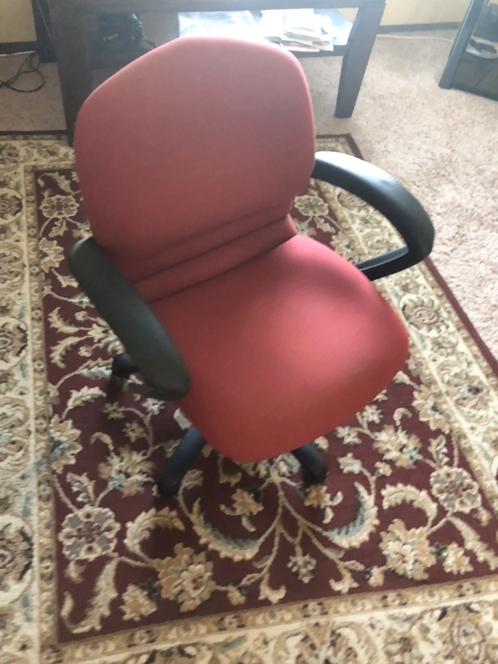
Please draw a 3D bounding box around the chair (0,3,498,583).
[{"bbox_3d":[0.017,-0.078,1.067,0.651,0.729,0.620,-27,60,-27],"label":"chair"}]
